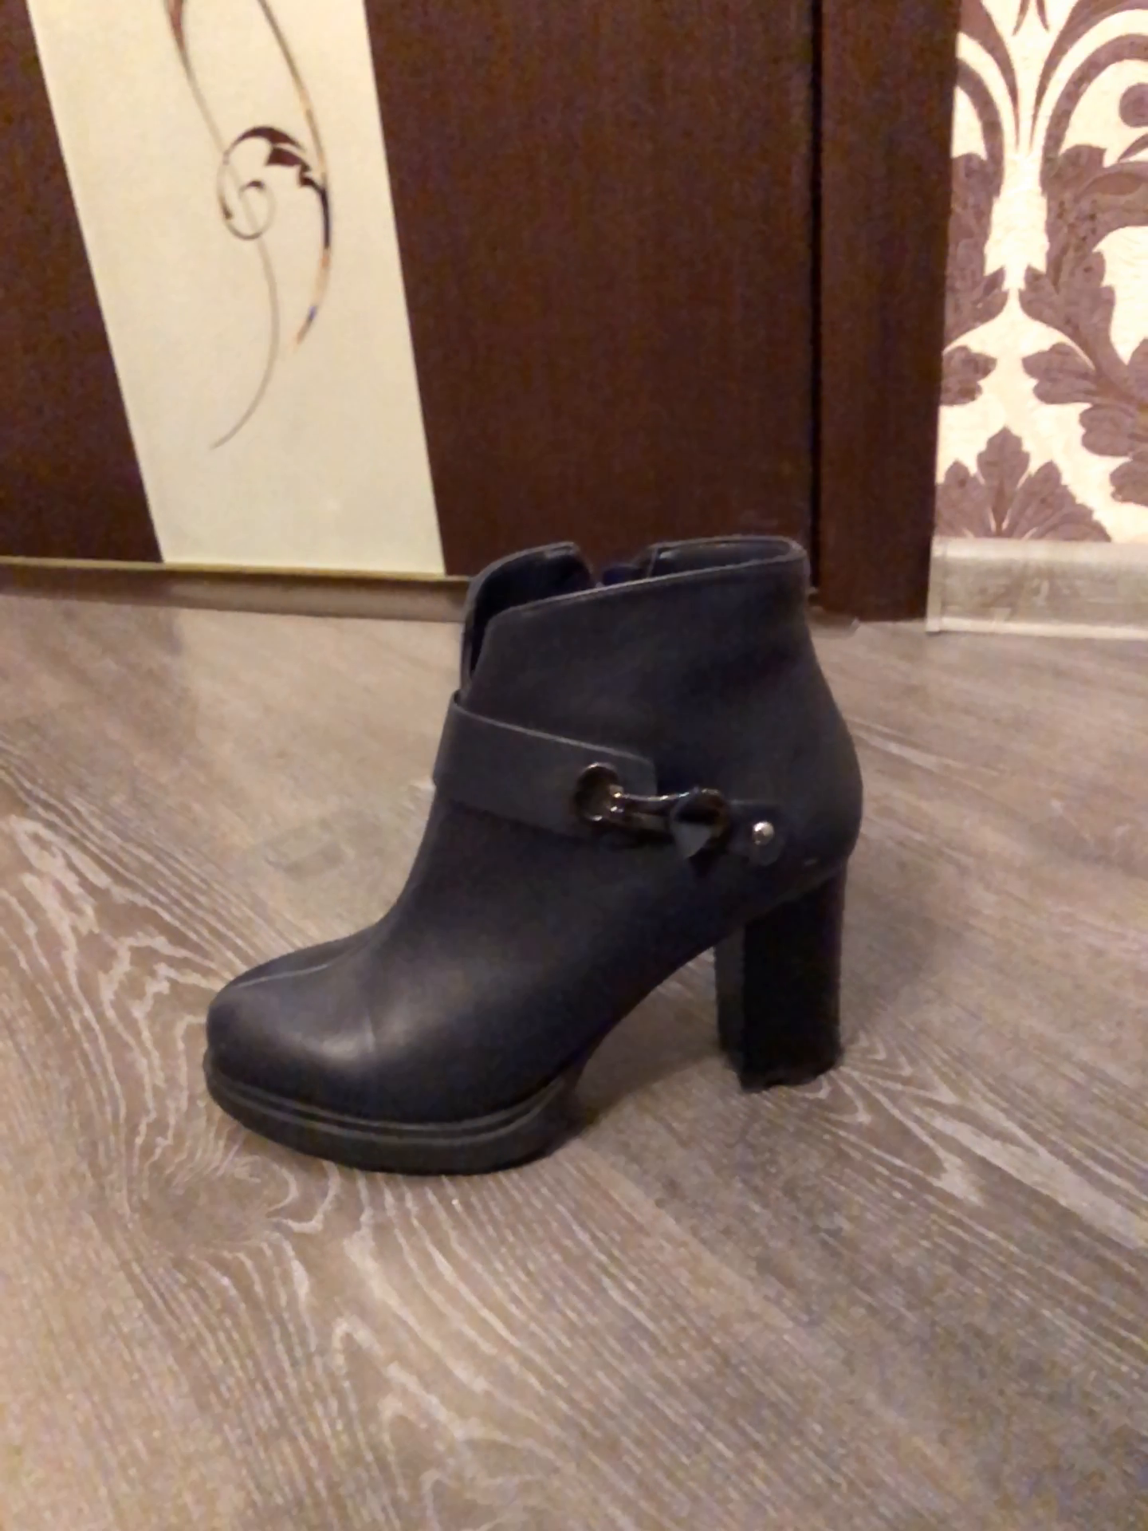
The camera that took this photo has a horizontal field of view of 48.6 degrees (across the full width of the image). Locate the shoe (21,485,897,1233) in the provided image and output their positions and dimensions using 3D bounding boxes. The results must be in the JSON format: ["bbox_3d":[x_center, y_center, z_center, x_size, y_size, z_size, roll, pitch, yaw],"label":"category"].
[{"bbox_3d":[-0.026,0.027,0.423,0.230,0.189,0.111,-7,27,-4],"label":"shoe"}]
